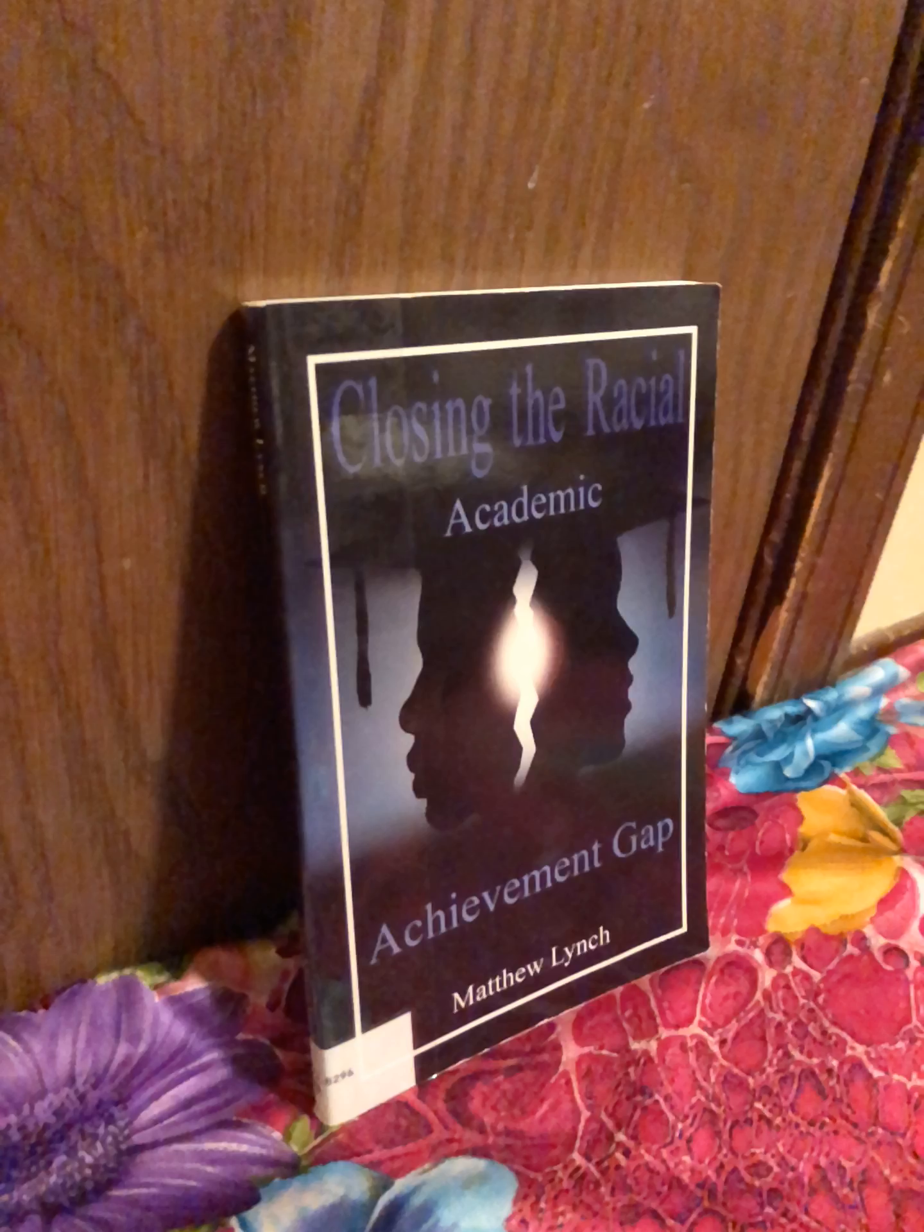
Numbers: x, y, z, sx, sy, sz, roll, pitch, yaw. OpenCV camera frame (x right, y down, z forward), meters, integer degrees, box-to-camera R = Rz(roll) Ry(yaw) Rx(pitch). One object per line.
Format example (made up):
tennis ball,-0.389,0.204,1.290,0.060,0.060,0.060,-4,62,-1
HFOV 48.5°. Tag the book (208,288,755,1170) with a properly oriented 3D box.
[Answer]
book,0.012,0.027,0.300,0.146,0.230,0.036,-13,23,-32
